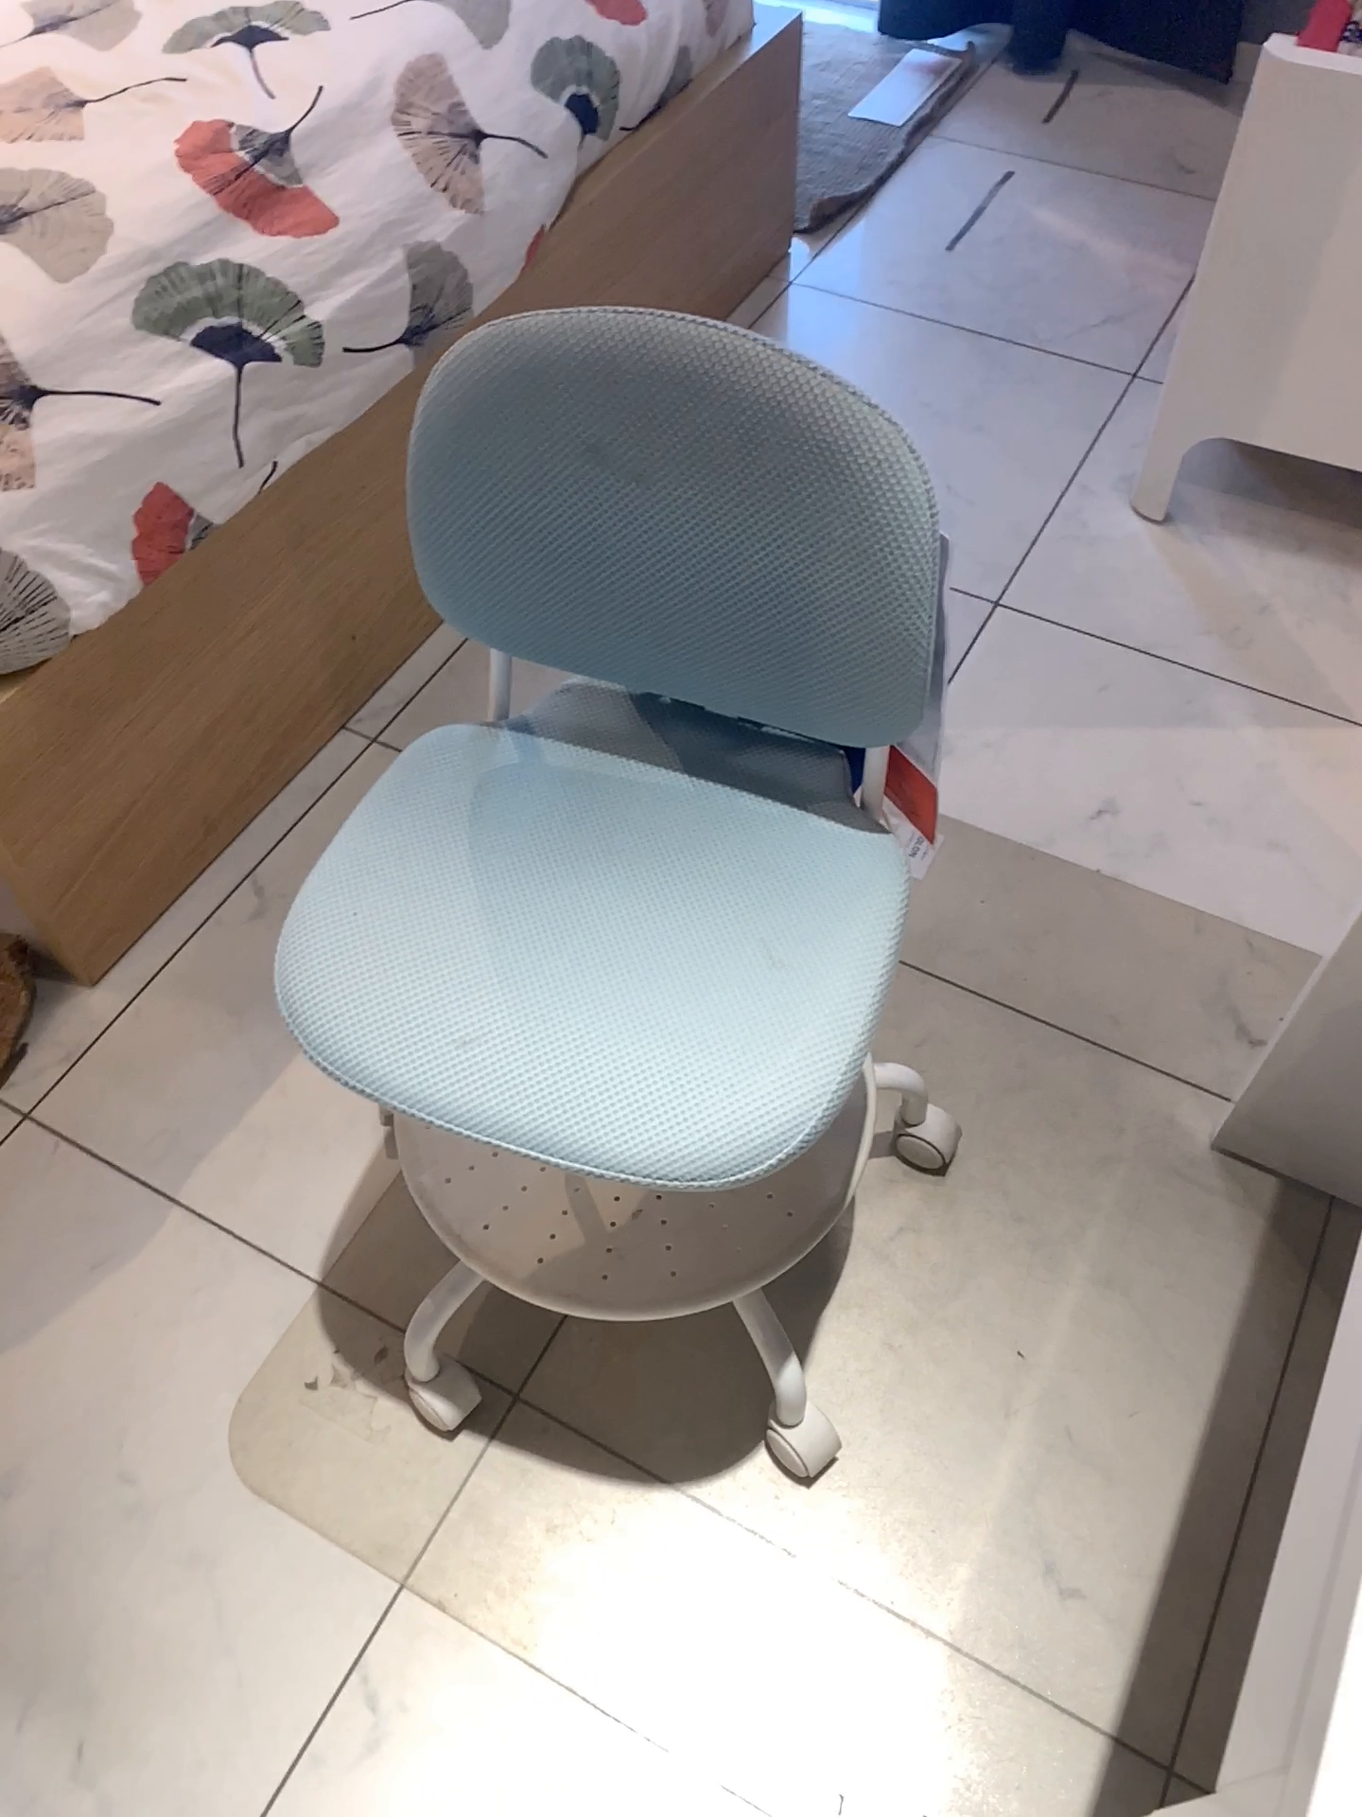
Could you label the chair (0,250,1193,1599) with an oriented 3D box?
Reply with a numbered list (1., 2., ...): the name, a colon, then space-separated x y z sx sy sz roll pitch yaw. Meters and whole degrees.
1. chair: -0.047 0.035 1.089 0.600 0.718 0.621 16 55 13
